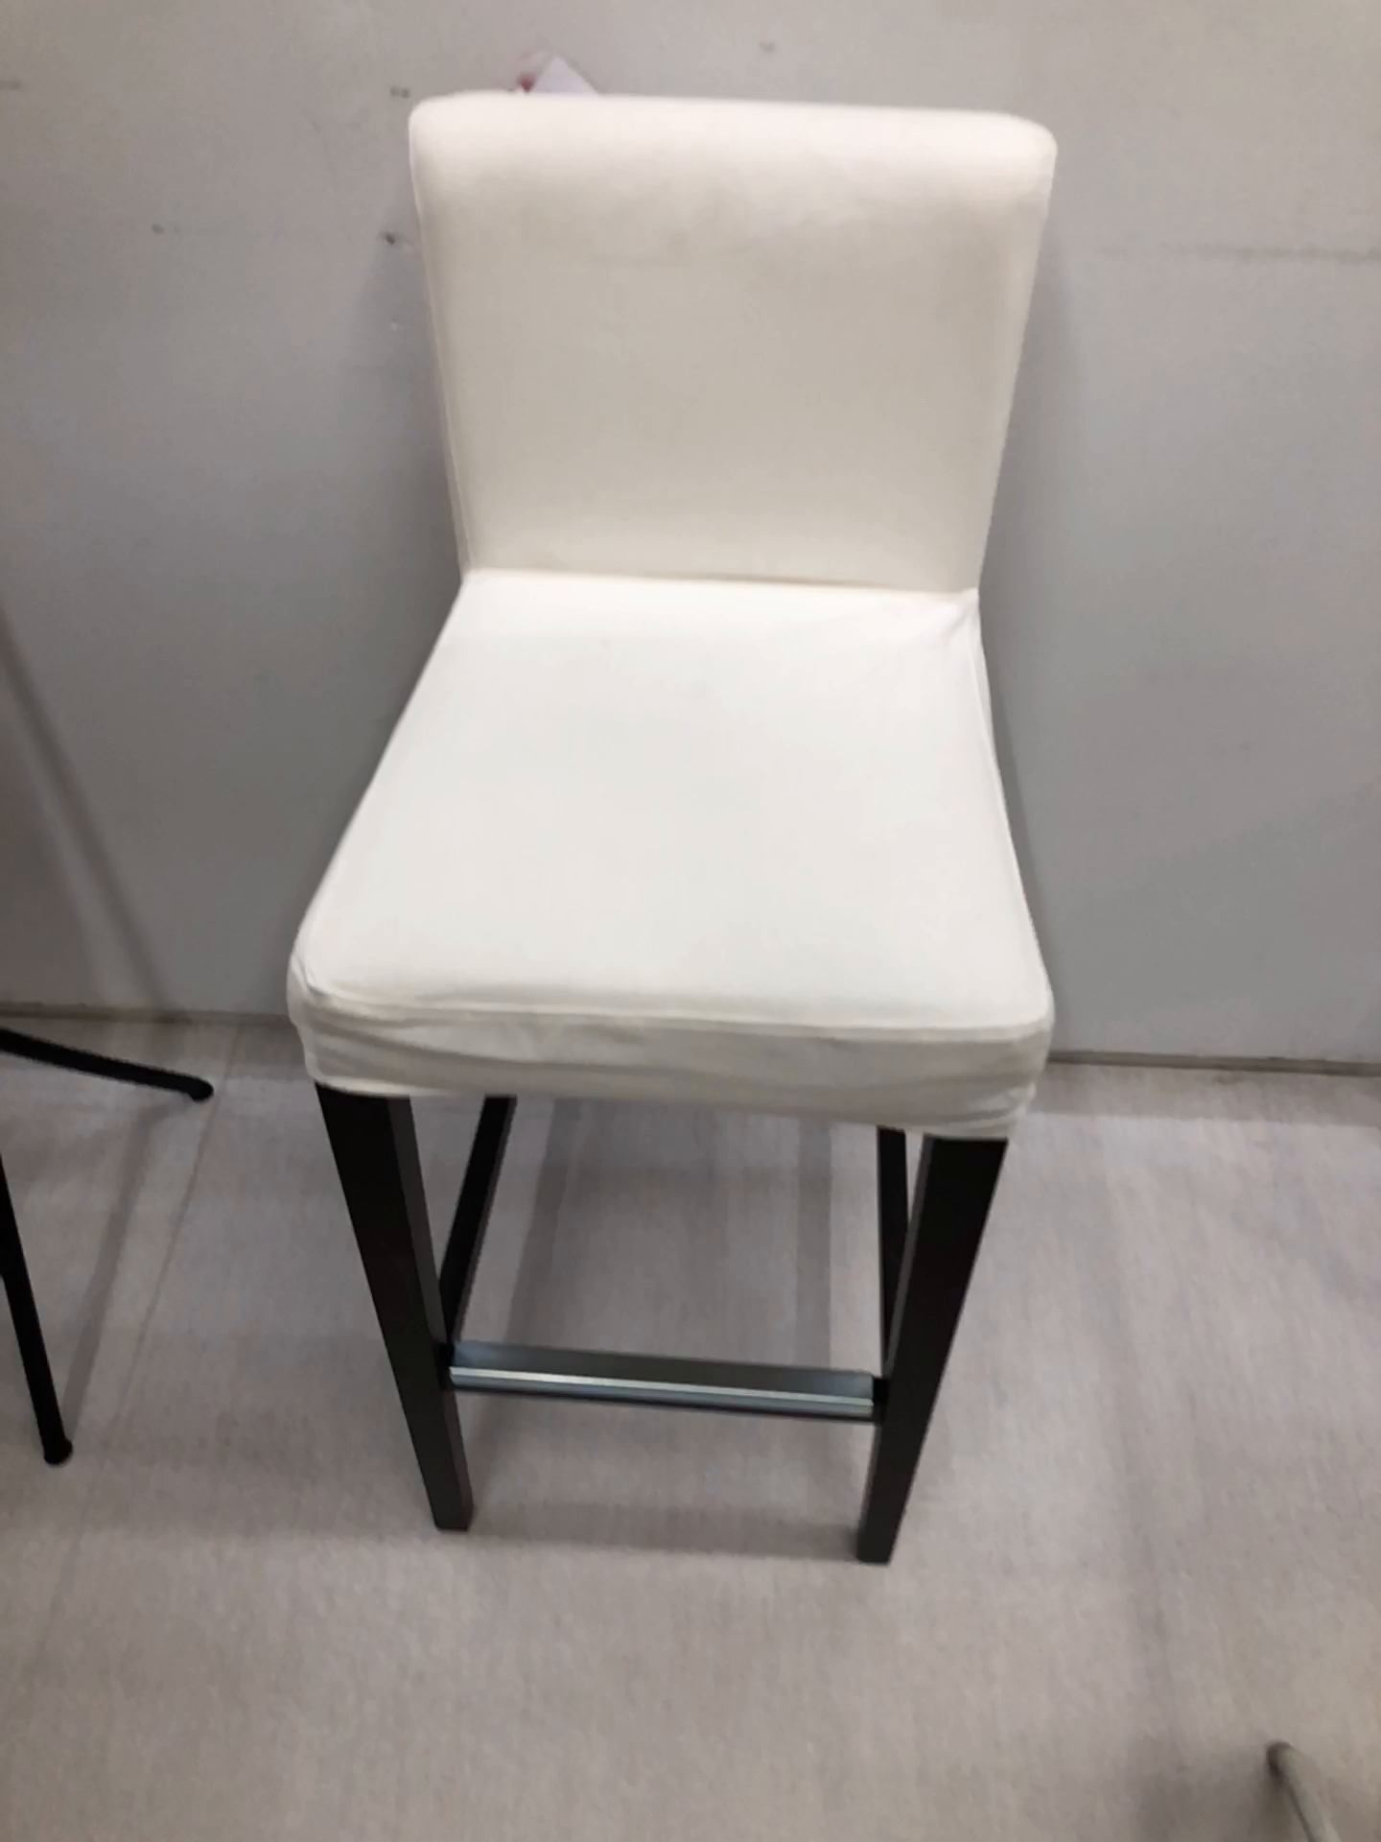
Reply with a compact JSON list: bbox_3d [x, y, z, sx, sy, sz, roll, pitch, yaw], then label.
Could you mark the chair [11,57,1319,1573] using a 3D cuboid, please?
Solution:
[{"bbox_3d":[0.003,-0.006,1.001,0.440,0.854,0.533,3,48,2],"label":"chair"}]
